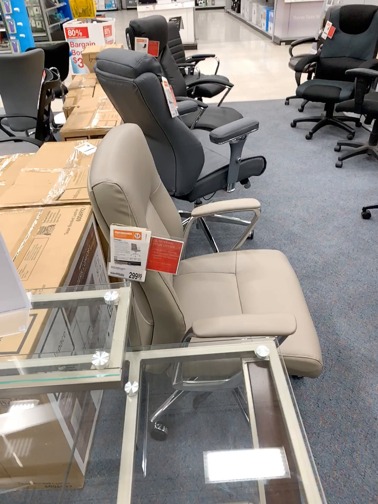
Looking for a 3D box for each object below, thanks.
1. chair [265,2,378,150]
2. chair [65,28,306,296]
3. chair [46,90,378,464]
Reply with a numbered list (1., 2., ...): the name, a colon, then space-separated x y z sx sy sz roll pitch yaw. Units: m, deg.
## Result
1. chair: 1.348 -1.667 3.561 0.813 1.016 0.936 27 45 36
2. chair: -0.028 -0.538 2.092 0.815 1.056 0.814 -22 39 -24
3. chair: 0.106 0.085 1.241 0.674 0.956 0.694 -2 35 2
